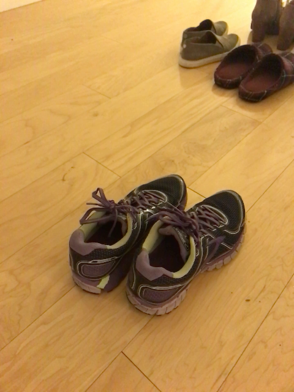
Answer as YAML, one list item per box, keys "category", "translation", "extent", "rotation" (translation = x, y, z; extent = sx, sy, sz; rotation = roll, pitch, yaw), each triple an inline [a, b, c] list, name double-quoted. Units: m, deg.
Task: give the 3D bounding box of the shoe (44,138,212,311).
- category: "shoe"
  translation: [-0.016, 0.031, 0.551]
  extent: [0.110, 0.099, 0.292]
  rotation: [29, 53, 25]

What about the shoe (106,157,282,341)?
- category: "shoe"
  translation: [0.085, 0.064, 0.514]
  extent: [0.120, 0.079, 0.291]
  rotation: [32, 54, 27]
